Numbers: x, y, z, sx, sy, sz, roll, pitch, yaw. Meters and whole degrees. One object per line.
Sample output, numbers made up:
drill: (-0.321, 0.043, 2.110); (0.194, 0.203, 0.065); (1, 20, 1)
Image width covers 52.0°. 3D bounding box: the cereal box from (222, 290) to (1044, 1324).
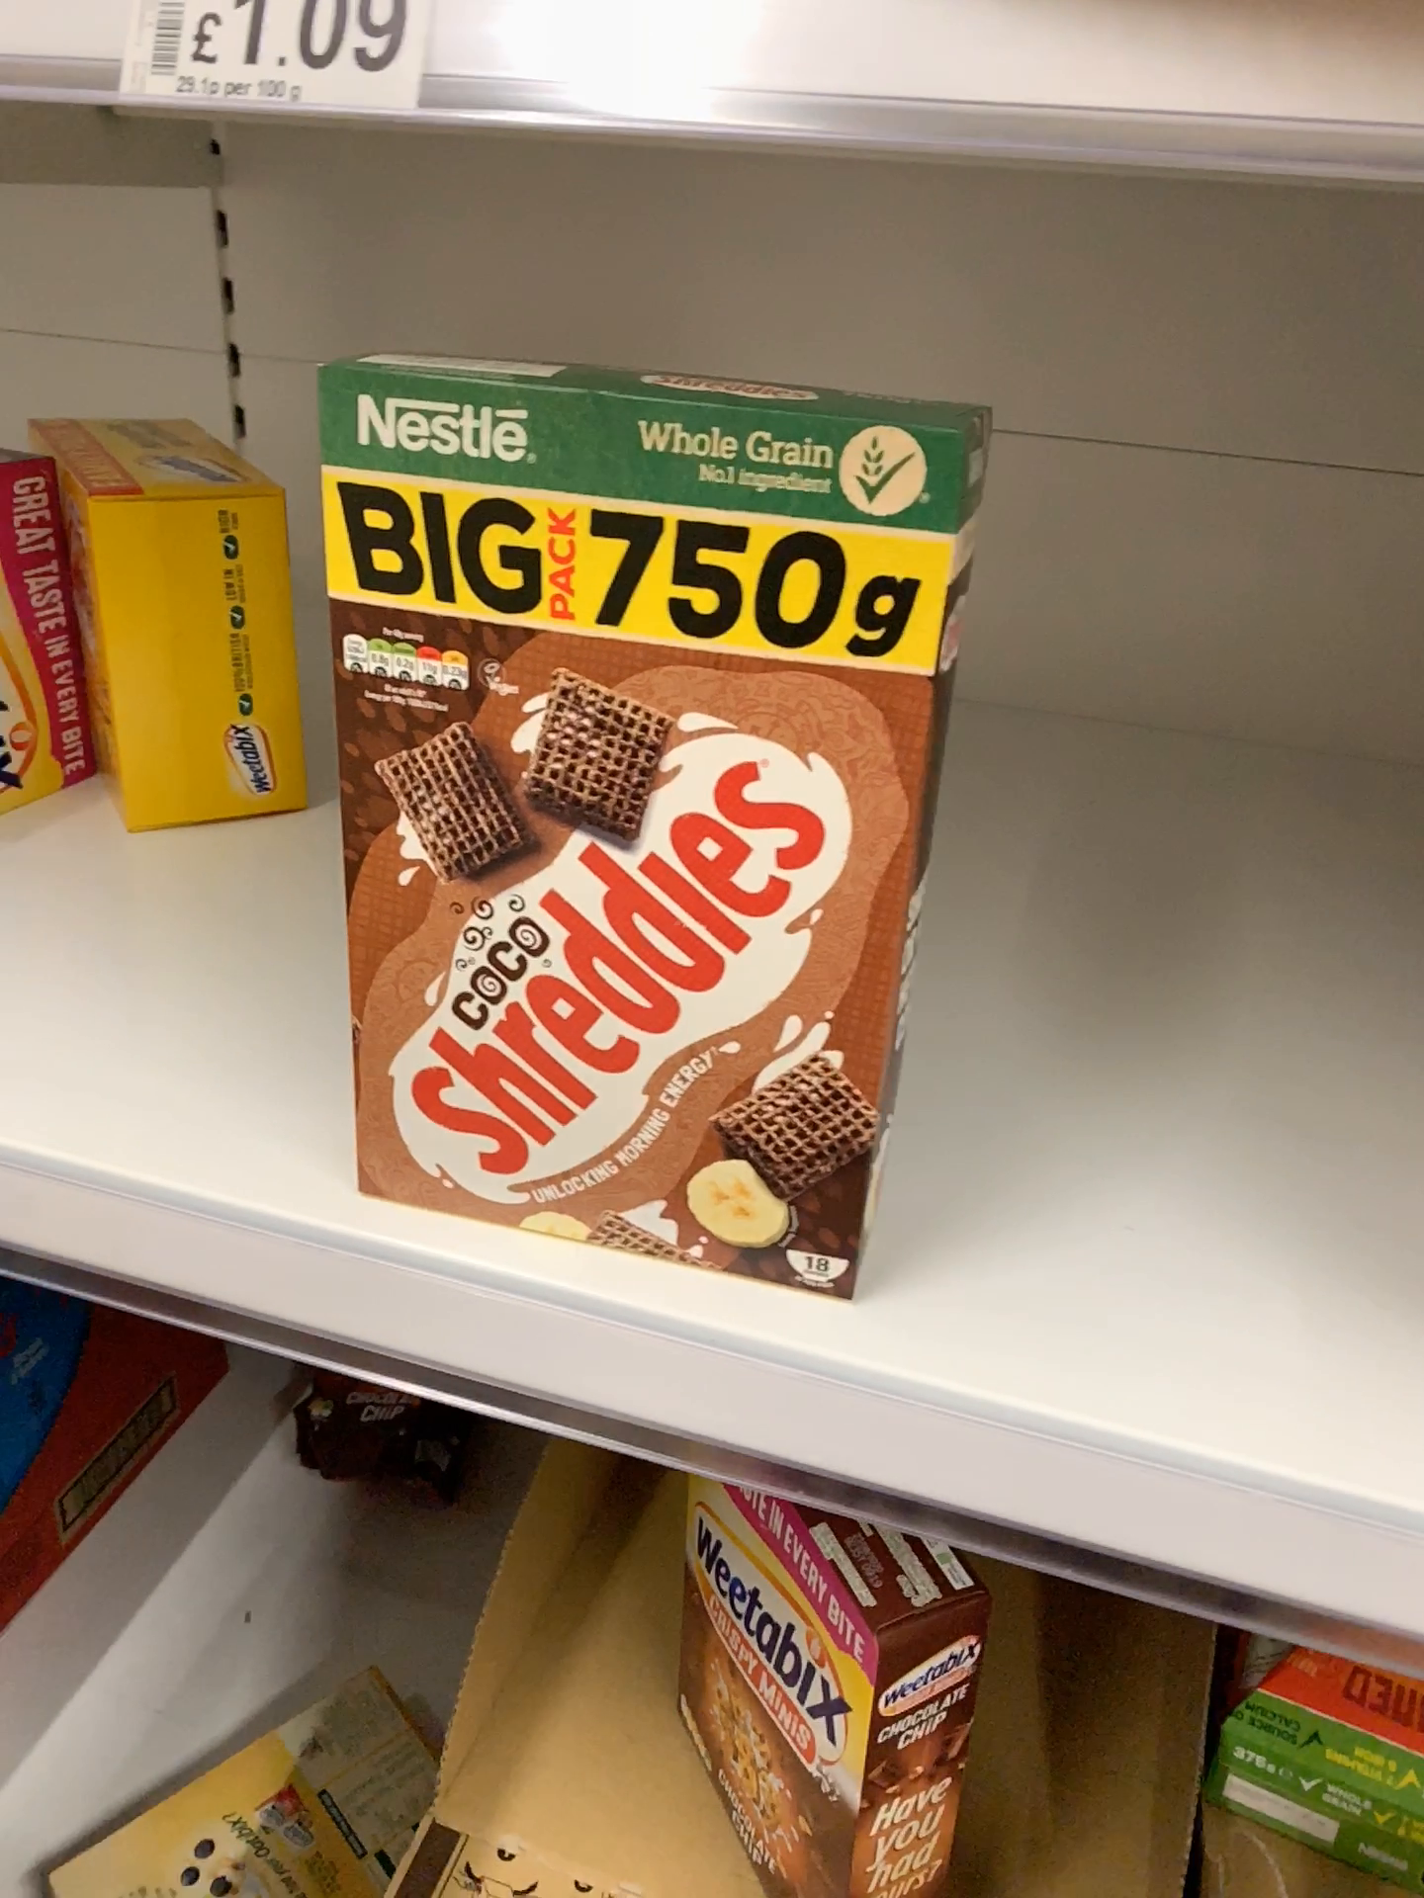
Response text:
cereal box: (-0.026, -0.042, 0.465); (0.210, 0.287, 0.081); (10, 28, 12)
